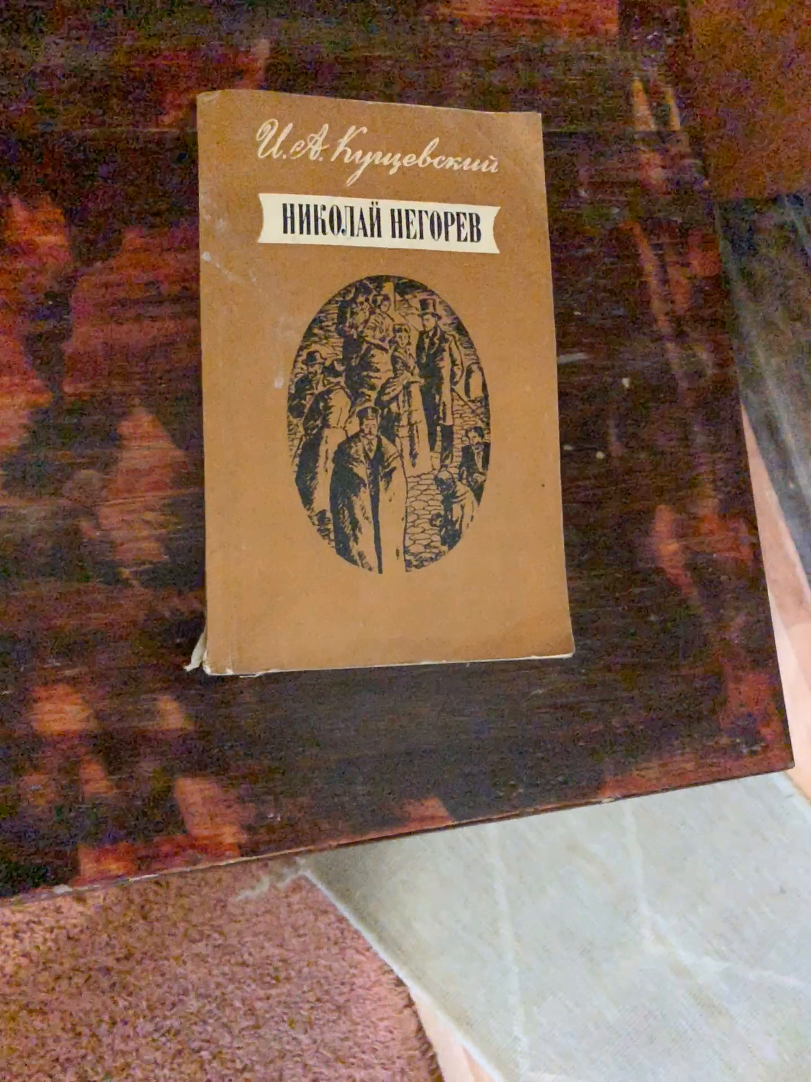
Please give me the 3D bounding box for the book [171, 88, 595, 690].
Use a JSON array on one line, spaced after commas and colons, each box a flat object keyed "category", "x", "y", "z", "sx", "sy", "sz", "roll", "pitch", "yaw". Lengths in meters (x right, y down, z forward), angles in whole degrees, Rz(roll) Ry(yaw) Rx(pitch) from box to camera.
[{"category": "book", "x": -0.008, "y": -0.051, "z": 0.283, "sx": 0.130, "sy": 0.024, "sz": 0.190, "roll": -2, "pitch": 86, "yaw": -9}]
